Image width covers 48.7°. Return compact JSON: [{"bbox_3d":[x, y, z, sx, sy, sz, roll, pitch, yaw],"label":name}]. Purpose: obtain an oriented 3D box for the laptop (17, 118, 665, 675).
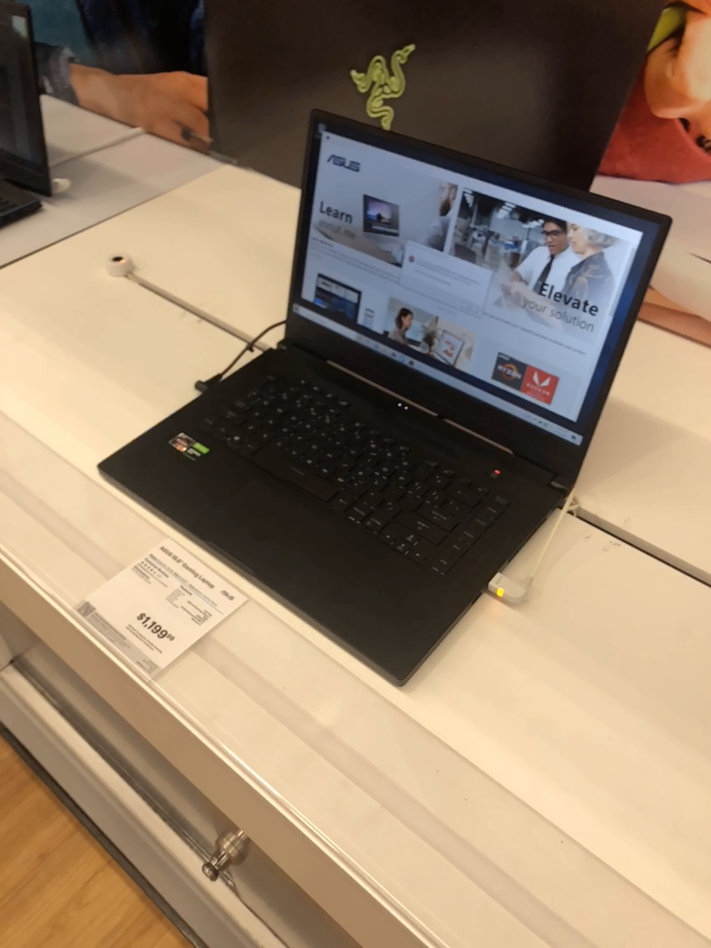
[{"bbox_3d":[-0.006,-0.096,0.647,0.351,0.222,0.310,30,52,28],"label":"laptop"}]
